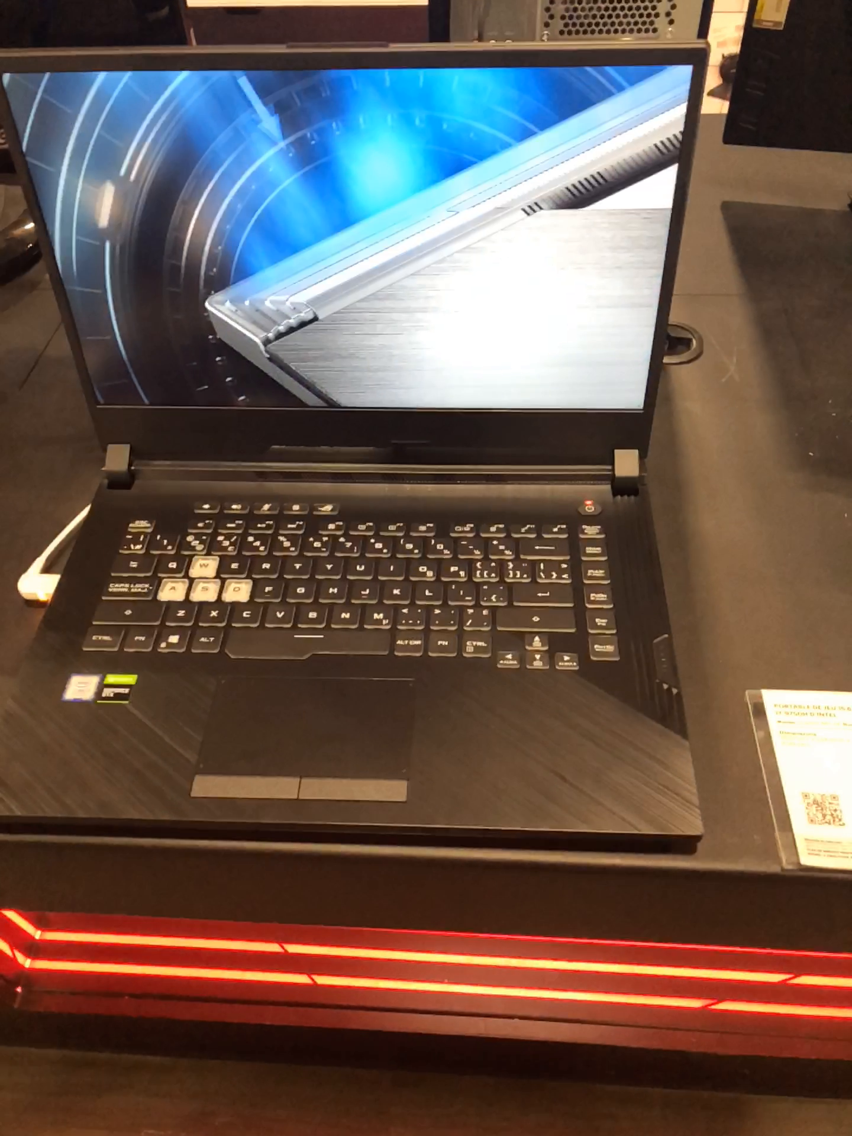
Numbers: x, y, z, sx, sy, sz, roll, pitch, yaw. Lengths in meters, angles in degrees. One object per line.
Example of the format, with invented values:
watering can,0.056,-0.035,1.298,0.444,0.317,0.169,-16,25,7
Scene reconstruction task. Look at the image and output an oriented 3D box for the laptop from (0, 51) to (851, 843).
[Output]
laptop,-0.047,-0.065,0.445,0.349,0.243,0.281,1,47,3
